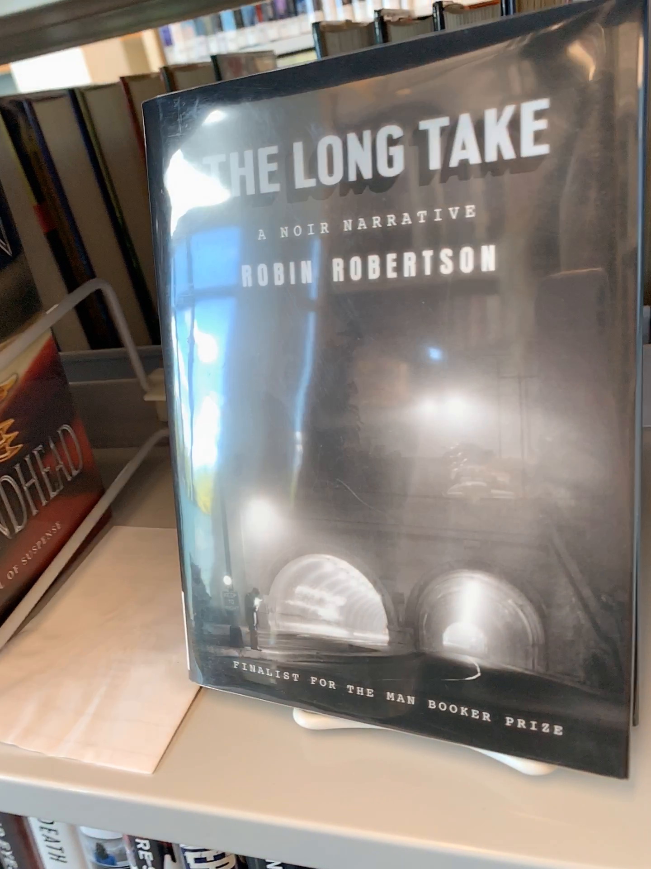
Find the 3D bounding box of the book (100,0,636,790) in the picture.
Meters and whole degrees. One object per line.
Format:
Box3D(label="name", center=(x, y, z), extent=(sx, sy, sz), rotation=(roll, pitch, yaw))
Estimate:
Box3D(label="book", center=(0.012, -0.009, 0.223), extent=(0.160, 0.206, 0.040), rotation=(1, 10, 25))
